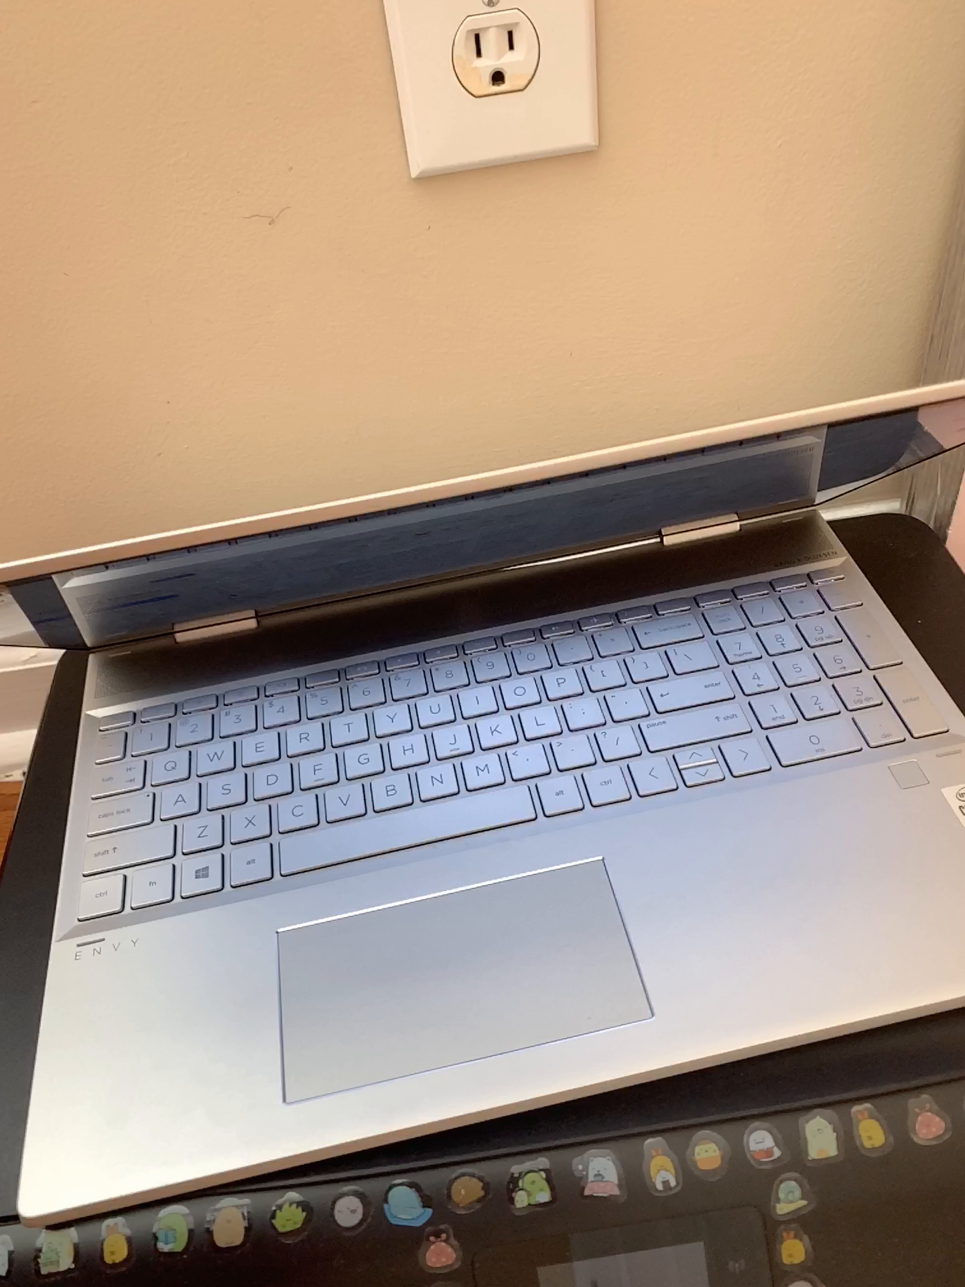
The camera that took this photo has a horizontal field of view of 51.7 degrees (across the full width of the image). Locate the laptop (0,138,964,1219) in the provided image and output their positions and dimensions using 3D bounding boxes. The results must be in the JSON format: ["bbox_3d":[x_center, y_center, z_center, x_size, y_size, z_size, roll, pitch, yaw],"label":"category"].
[{"bbox_3d":[0.003,-0.009,0.326,0.350,0.169,0.238,-12,45,-4],"label":"laptop"}]
